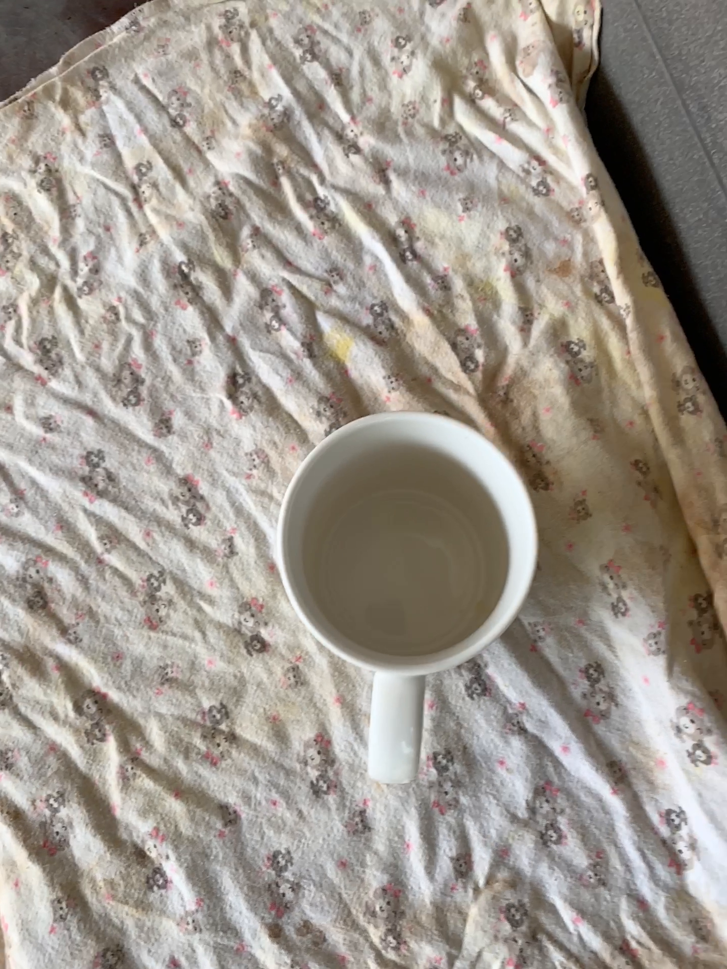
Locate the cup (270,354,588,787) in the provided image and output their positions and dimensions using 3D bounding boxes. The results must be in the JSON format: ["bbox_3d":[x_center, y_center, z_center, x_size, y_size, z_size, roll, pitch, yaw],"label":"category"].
[{"bbox_3d":[0.019,0.035,0.282,0.090,0.110,0.130,-1,76,1],"label":"cup"}]
